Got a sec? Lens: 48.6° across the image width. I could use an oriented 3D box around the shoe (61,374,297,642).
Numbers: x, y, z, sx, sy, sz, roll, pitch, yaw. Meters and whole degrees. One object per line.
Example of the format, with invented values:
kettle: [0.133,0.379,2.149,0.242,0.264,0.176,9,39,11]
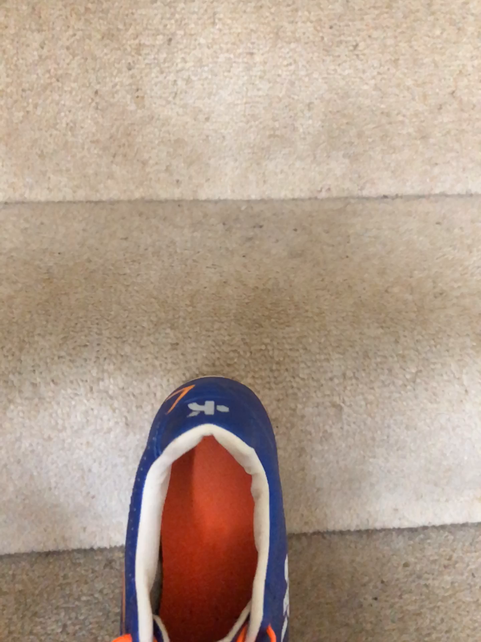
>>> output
shoe: [-0.023,0.132,0.237,0.070,0.210,0.100,3,-4,-5]
